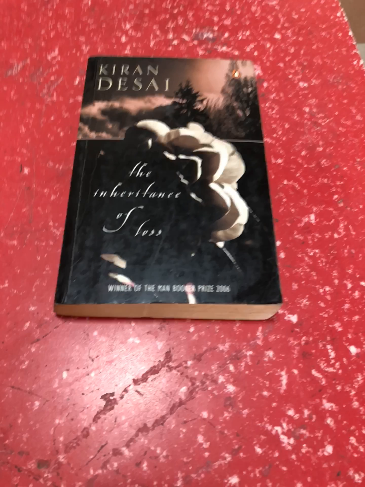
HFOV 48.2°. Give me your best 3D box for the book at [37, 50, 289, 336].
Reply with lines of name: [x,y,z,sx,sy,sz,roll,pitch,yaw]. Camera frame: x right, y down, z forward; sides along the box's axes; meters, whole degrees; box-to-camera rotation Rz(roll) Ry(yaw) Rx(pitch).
book: [-0.011,-0.039,0.279,0.130,0.060,0.190,1,64,-2]
